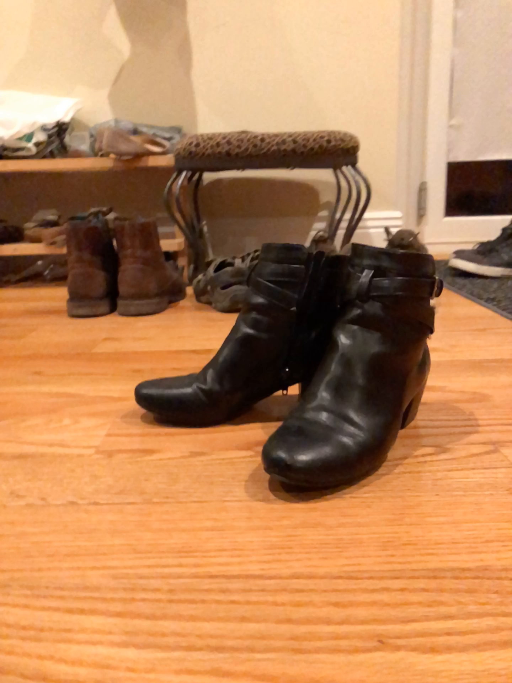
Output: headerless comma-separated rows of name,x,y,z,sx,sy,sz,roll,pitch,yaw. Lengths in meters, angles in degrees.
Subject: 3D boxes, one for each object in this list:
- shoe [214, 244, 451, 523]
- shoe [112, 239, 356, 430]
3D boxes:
shoe,0.078,0.014,0.486,0.090,0.173,0.227,9,18,38
shoe,-0.019,-0.012,0.584,0.226,0.173,0.090,-2,14,-2
